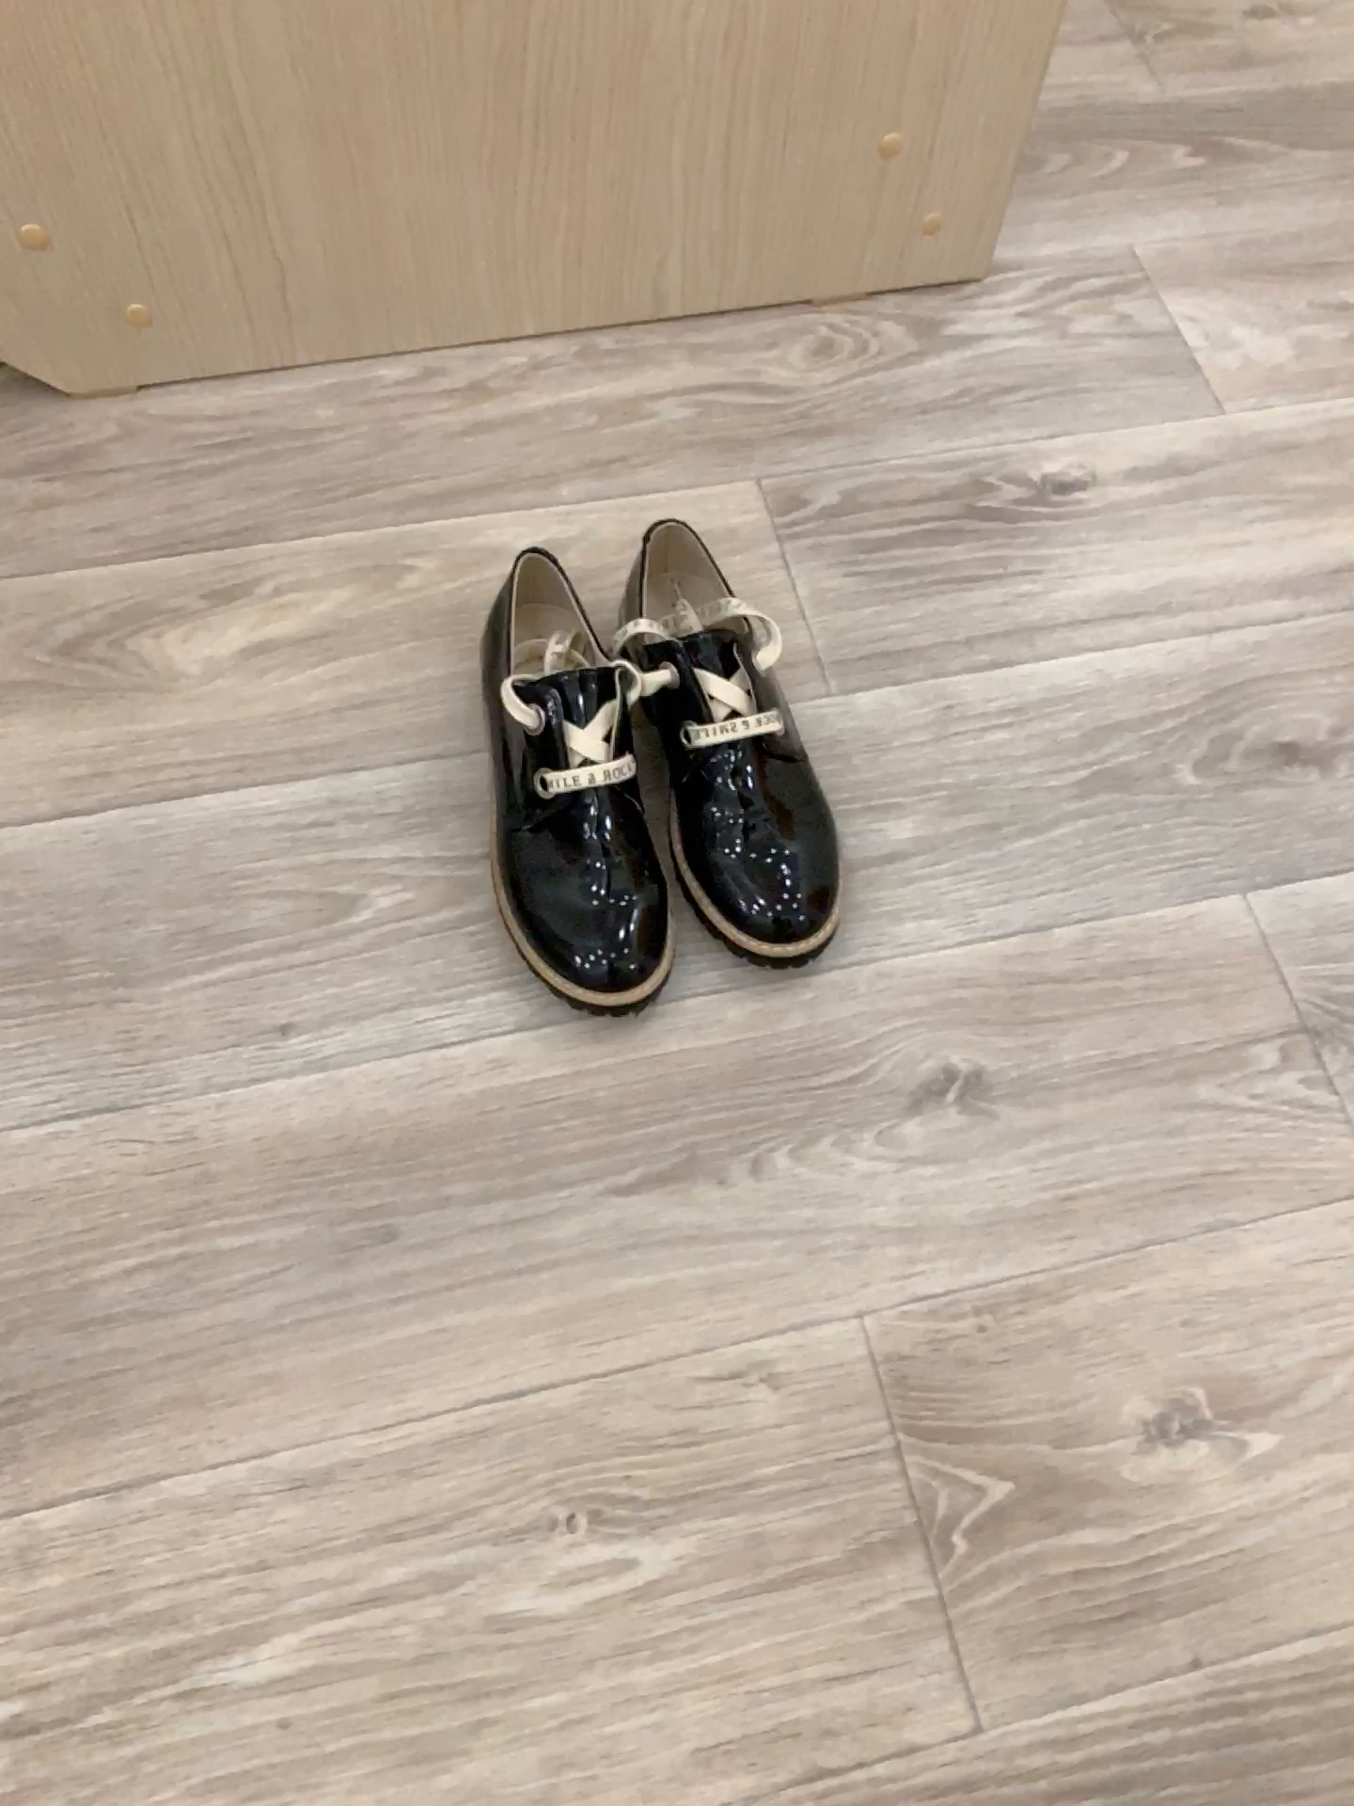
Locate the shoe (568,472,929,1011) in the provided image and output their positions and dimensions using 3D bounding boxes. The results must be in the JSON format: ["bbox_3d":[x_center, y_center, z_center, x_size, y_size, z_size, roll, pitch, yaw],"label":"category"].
[{"bbox_3d":[0.028,-0.093,0.764,0.100,0.100,0.271,-15,64,-11],"label":"shoe"}]

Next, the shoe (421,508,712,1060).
[{"bbox_3d":[-0.064,-0.068,0.741,0.100,0.100,0.271,-9,63,-8],"label":"shoe"}]
